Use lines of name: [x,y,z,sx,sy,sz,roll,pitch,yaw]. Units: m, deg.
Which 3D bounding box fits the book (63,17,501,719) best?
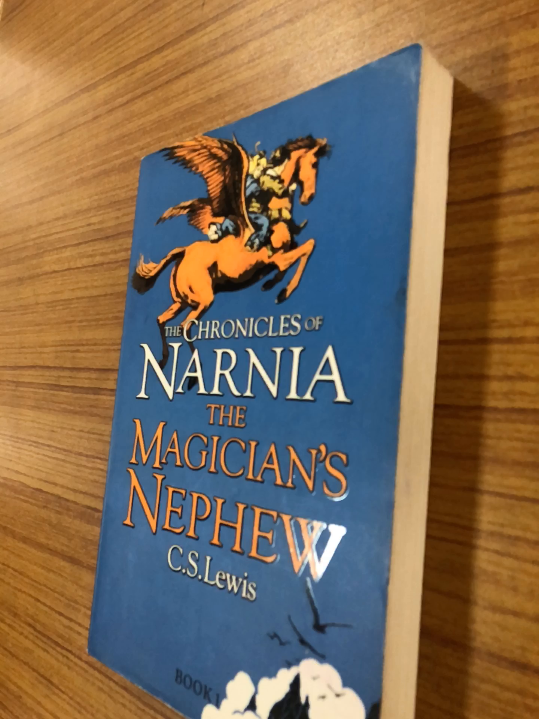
book: [-0.006,0.016,0.191,0.141,0.030,0.190,-1,82,43]
